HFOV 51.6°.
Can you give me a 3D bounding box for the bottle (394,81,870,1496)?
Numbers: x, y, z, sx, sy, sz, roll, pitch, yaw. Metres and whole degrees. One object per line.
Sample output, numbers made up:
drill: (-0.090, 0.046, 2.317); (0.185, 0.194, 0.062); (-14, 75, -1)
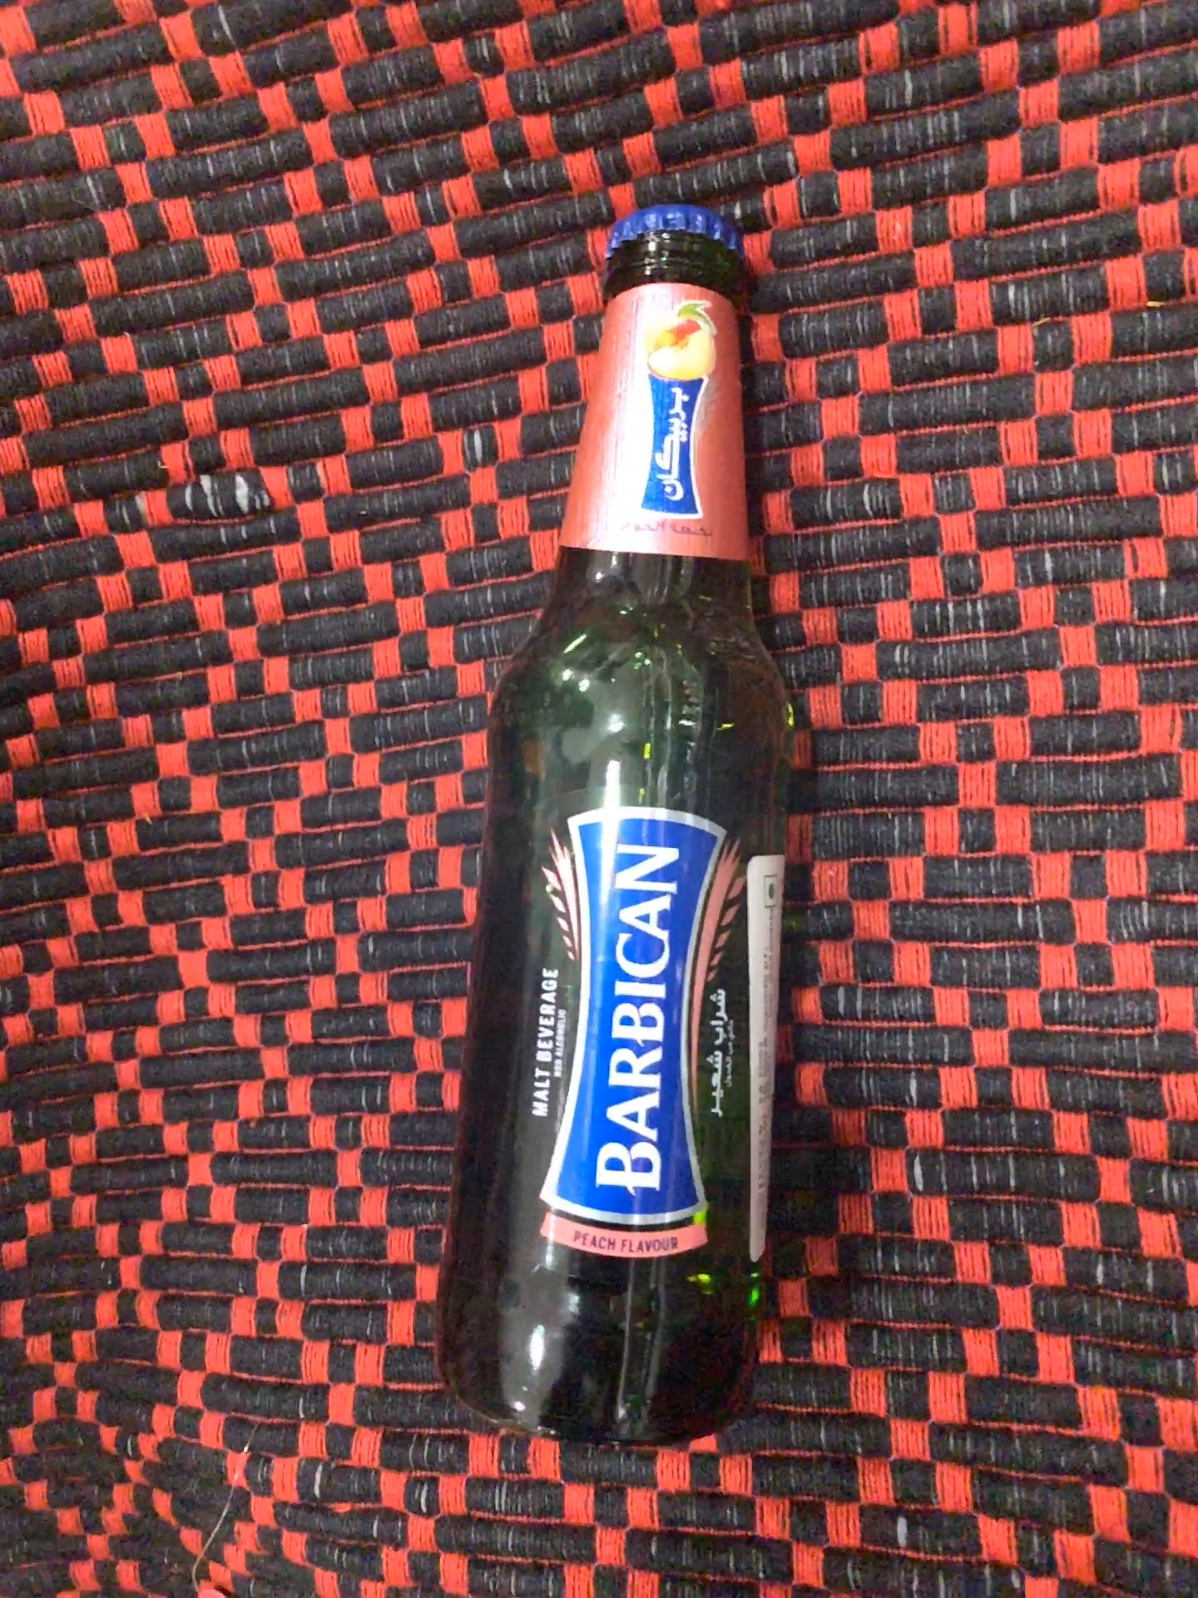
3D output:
bottle: (0.007, -0.005, 0.224); (0.050, 0.050, 0.220); (-7, 76, 57)
